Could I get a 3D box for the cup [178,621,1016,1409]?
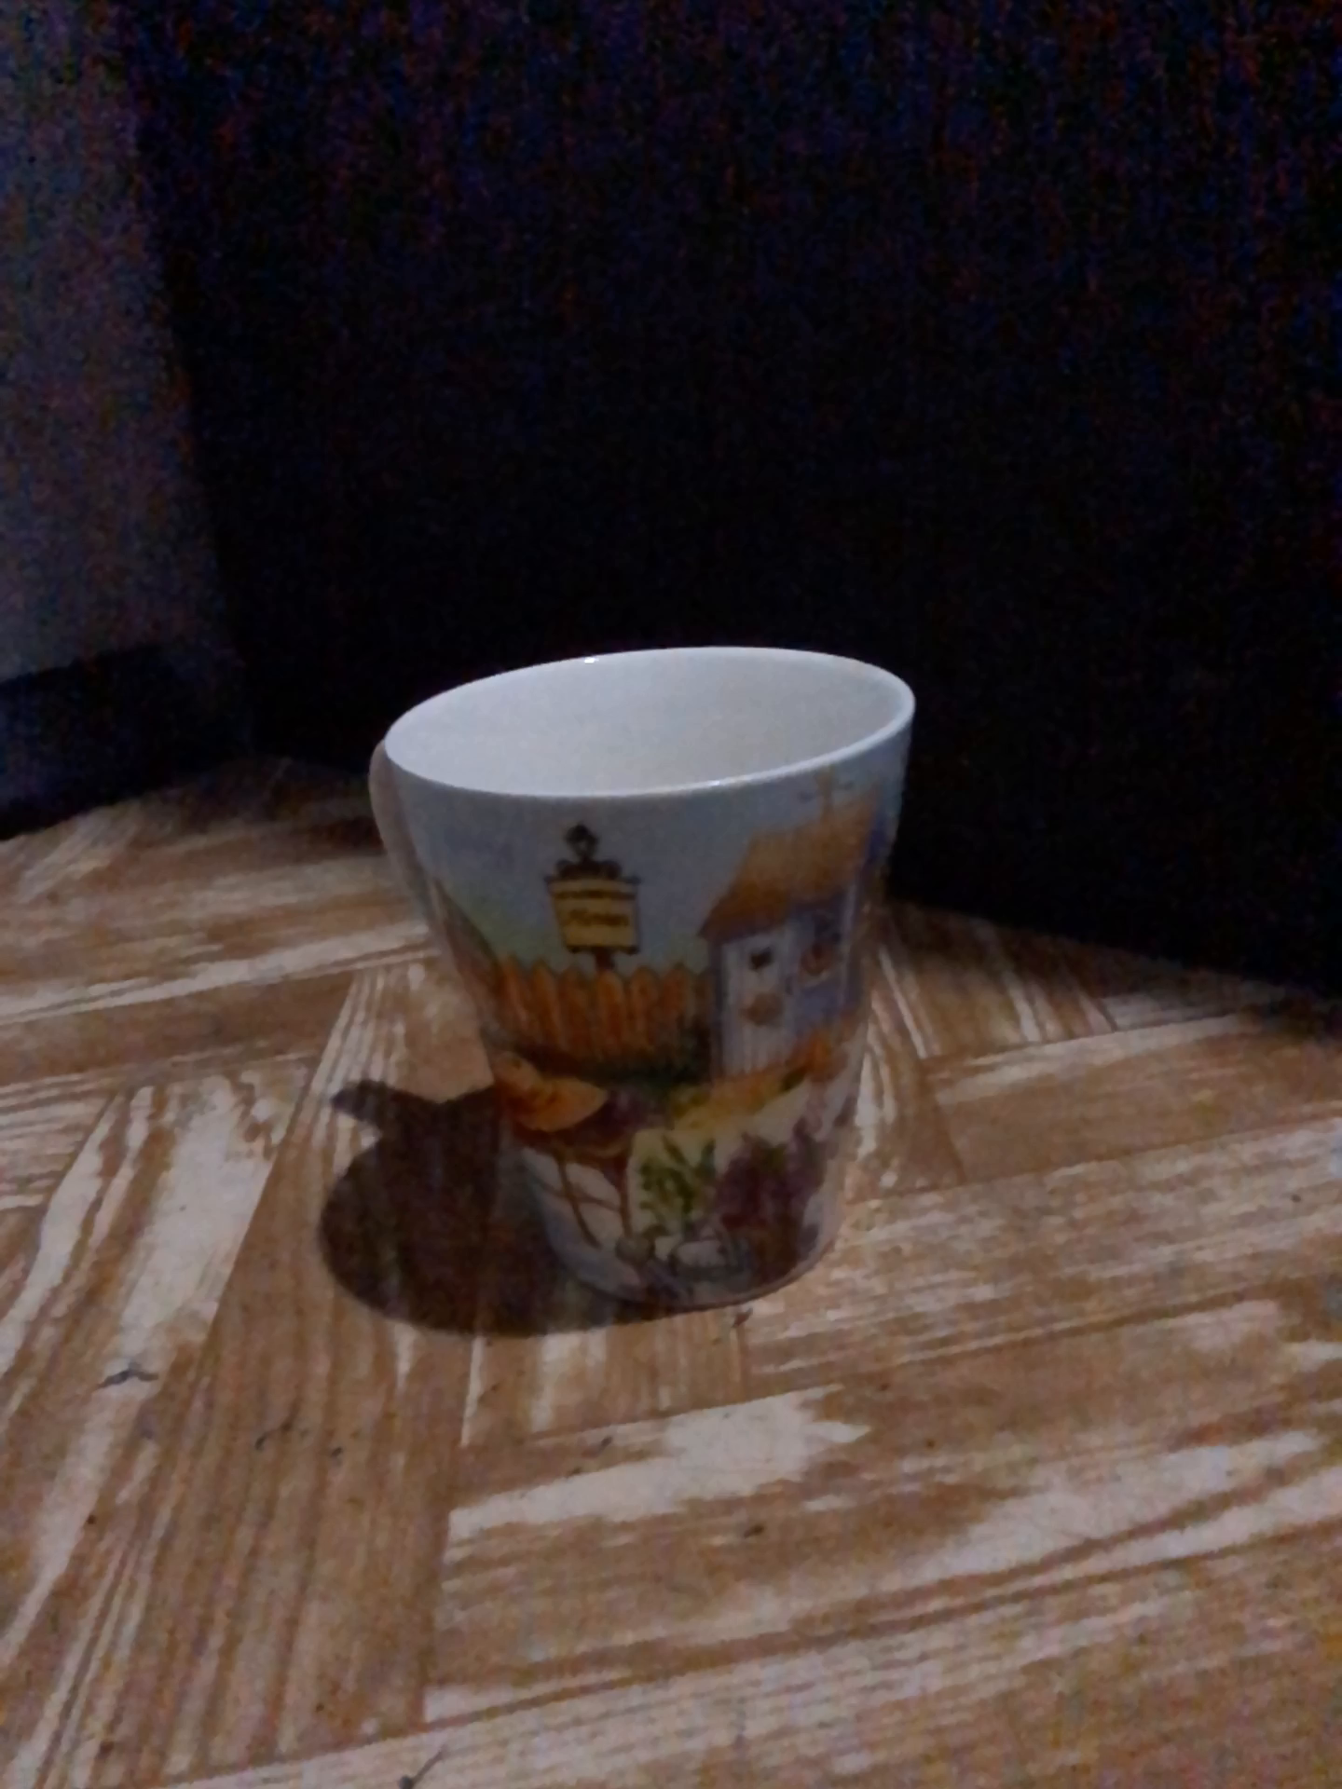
[{"bbox_3d":[-0.009,0.009,0.257,0.111,0.090,0.080,11,27,34],"label":"cup"}]
